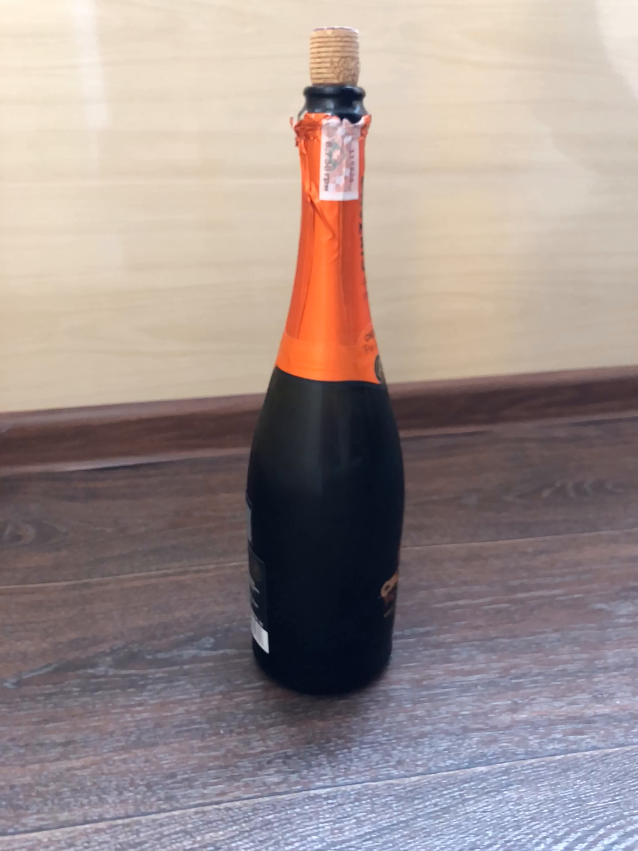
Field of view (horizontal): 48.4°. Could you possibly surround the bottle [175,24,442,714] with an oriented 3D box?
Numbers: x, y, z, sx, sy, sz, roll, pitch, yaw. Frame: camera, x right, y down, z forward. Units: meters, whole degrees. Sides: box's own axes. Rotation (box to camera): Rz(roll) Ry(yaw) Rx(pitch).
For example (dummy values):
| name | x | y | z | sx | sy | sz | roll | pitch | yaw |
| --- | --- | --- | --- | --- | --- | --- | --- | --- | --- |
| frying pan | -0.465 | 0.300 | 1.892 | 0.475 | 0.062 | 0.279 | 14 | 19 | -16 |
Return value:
| name | x | y | z | sx | sy | sz | roll | pitch | yaw |
| --- | --- | --- | --- | --- | --- | --- | --- | --- | --- |
| bottle | 0.003 | -0.017 | 0.376 | 0.100 | 0.328 | 0.093 | -1 | 22 | 0 |
